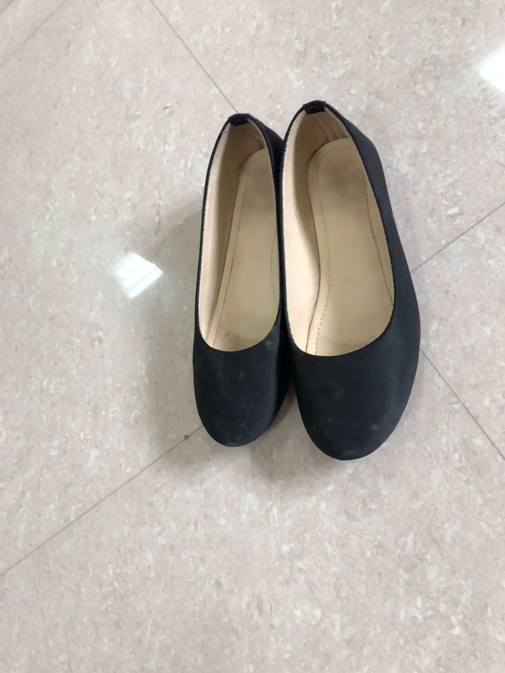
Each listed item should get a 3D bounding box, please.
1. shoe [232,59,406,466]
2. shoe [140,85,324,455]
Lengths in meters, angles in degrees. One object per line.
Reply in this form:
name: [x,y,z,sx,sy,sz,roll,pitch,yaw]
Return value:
shoe: [0.043,-0.043,0.372,0.090,0.060,0.250,-7,75,27]
shoe: [-0.011,-0.046,0.413,0.090,0.060,0.250,0,78,29]
